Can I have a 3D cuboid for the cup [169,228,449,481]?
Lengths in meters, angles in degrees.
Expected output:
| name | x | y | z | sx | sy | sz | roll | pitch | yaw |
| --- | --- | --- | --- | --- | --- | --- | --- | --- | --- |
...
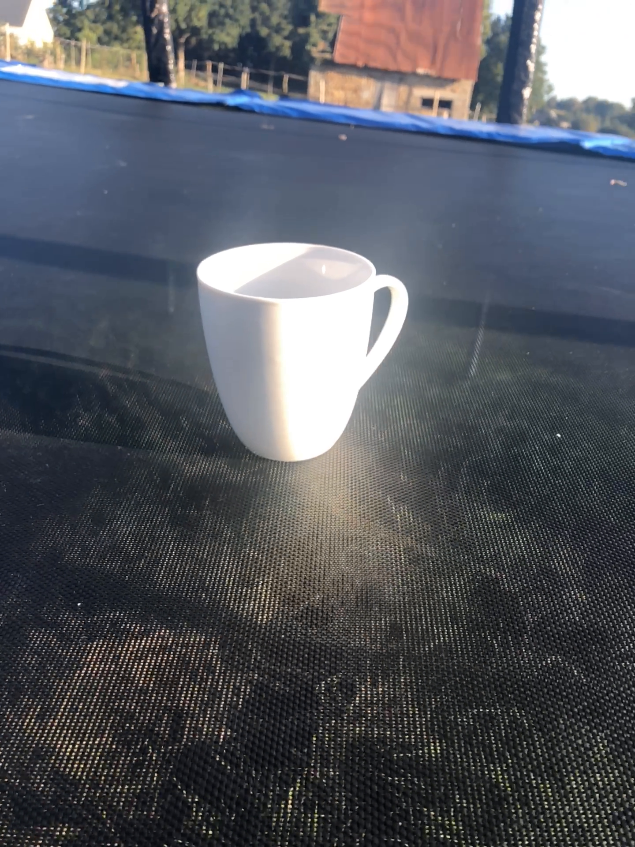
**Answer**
| name | x | y | z | sx | sy | sz | roll | pitch | yaw |
| --- | --- | --- | --- | --- | --- | --- | --- | --- | --- |
| cup | -0.009 | -0.045 | 0.386 | 0.110 | 0.089 | 0.100 | -14 | 34 | -27 |
